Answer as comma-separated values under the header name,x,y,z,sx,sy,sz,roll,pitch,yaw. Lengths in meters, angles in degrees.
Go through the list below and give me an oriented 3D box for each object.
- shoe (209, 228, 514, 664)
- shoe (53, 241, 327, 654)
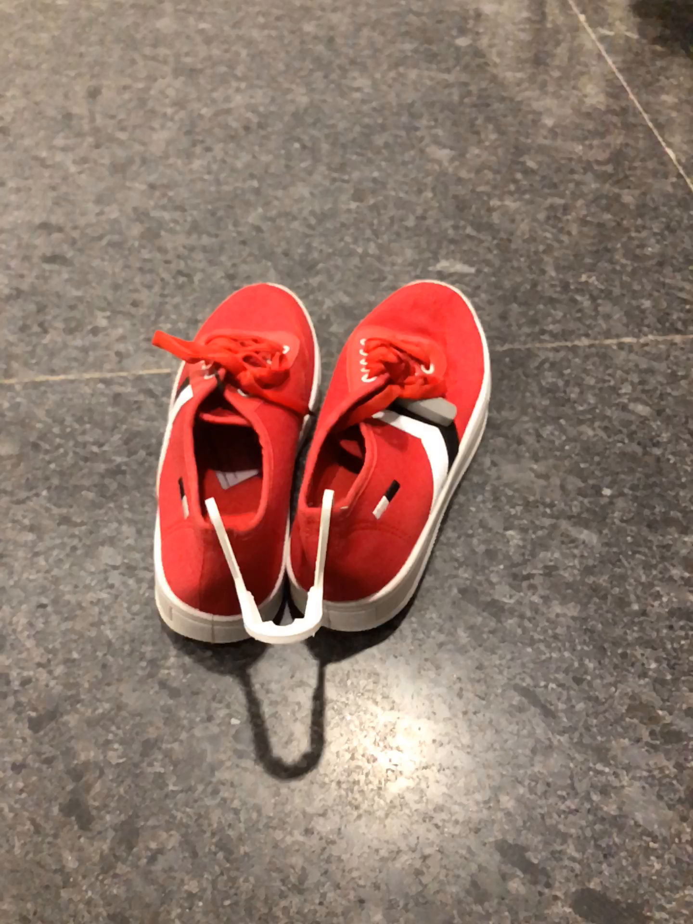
name,x,y,z,sx,sy,sz,roll,pitch,yaw
shoe,0.021,-0.023,0.440,0.103,0.090,0.235,12,51,11
shoe,-0.071,-0.020,0.444,0.101,0.090,0.234,2,50,2
